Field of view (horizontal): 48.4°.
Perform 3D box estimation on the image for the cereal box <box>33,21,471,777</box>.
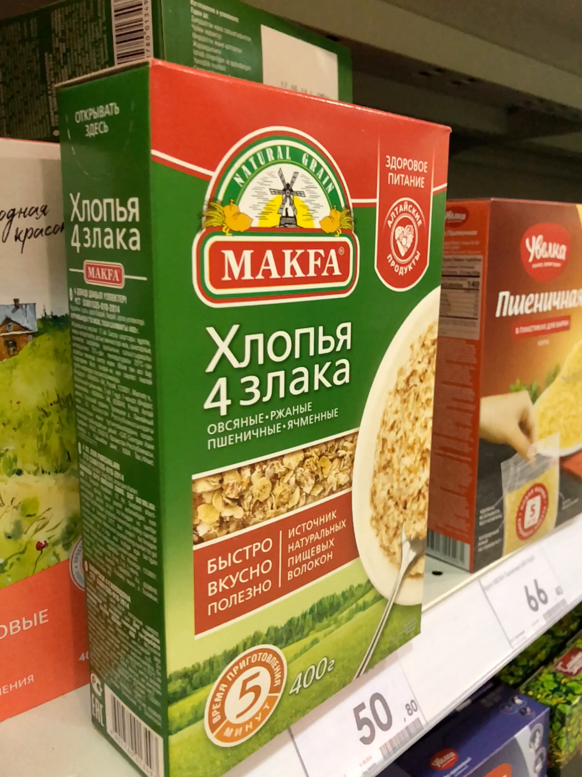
[{"bbox_3d":[-0.003,0.009,0.227,0.140,0.209,0.050,-11,17,-44],"label":"cereal box"}]
